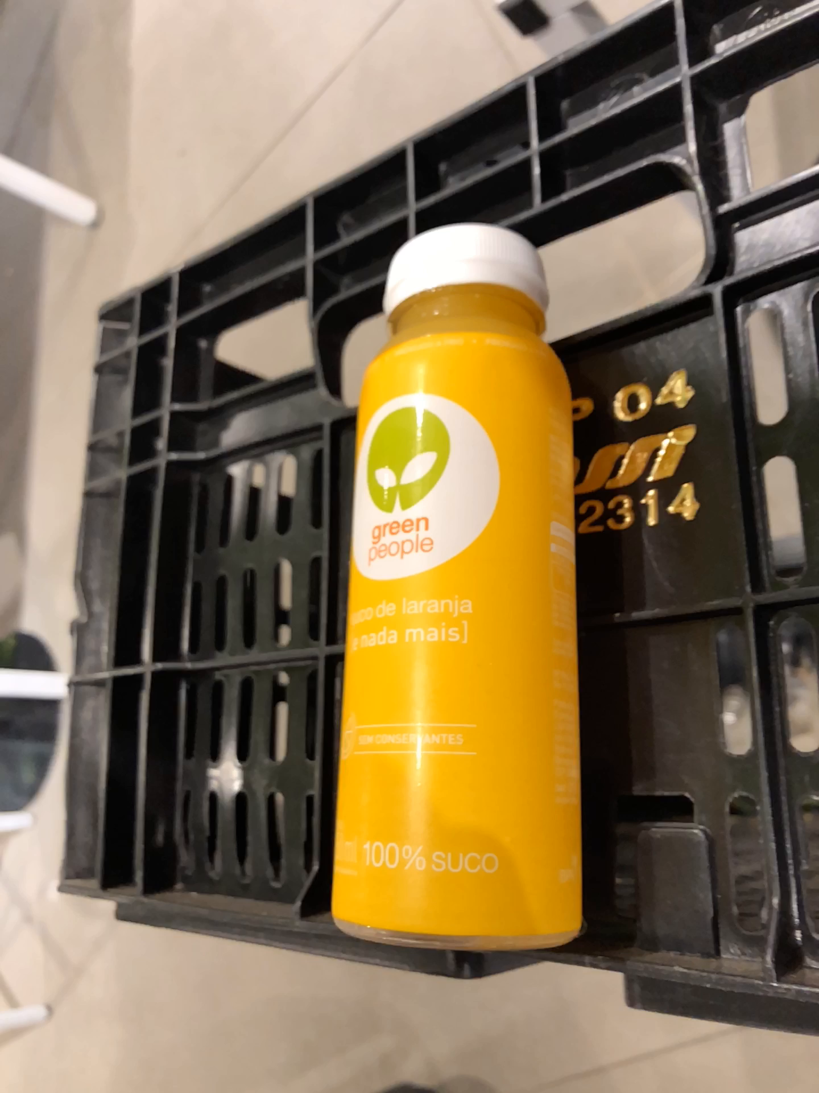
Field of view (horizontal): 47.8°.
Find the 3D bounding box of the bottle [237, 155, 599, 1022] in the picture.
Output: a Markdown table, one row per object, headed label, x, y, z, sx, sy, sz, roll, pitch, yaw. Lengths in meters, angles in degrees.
| label | x | y | z | sx | sy | sz | roll | pitch | yaw |
| --- | --- | --- | --- | --- | --- | --- | --- | --- | --- |
| bottle | 0.007 | 0.007 | 0.224 | 0.060 | 0.050 | 0.180 | -10 | 69 | 39 |
